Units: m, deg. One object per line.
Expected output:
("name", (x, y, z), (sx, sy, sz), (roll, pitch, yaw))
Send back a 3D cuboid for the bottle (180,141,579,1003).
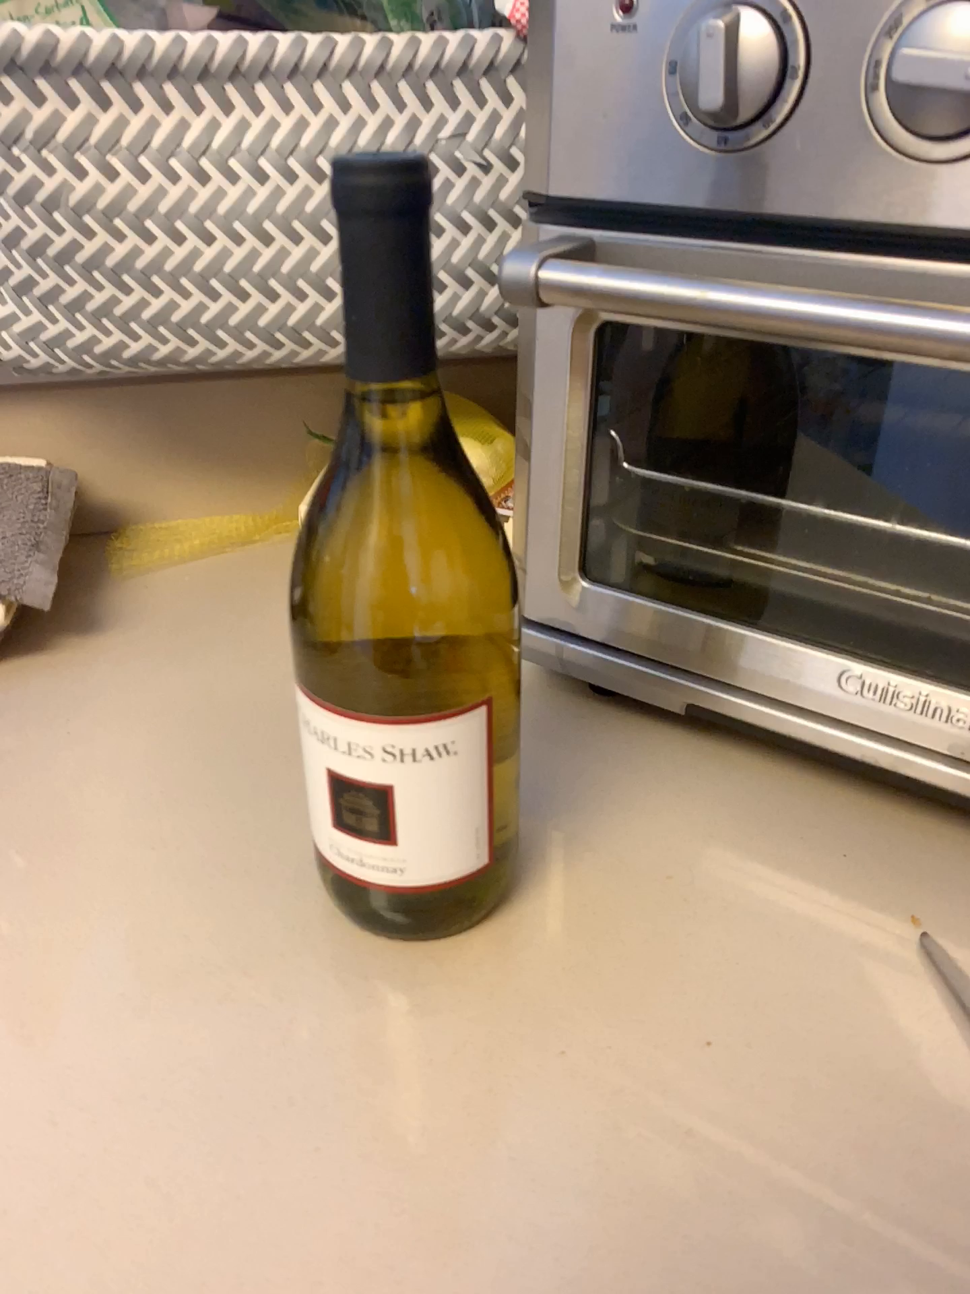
("bottle", (-0.026, -0.015, 0.332), (0.080, 0.268, 0.070), (16, 34, 27))
